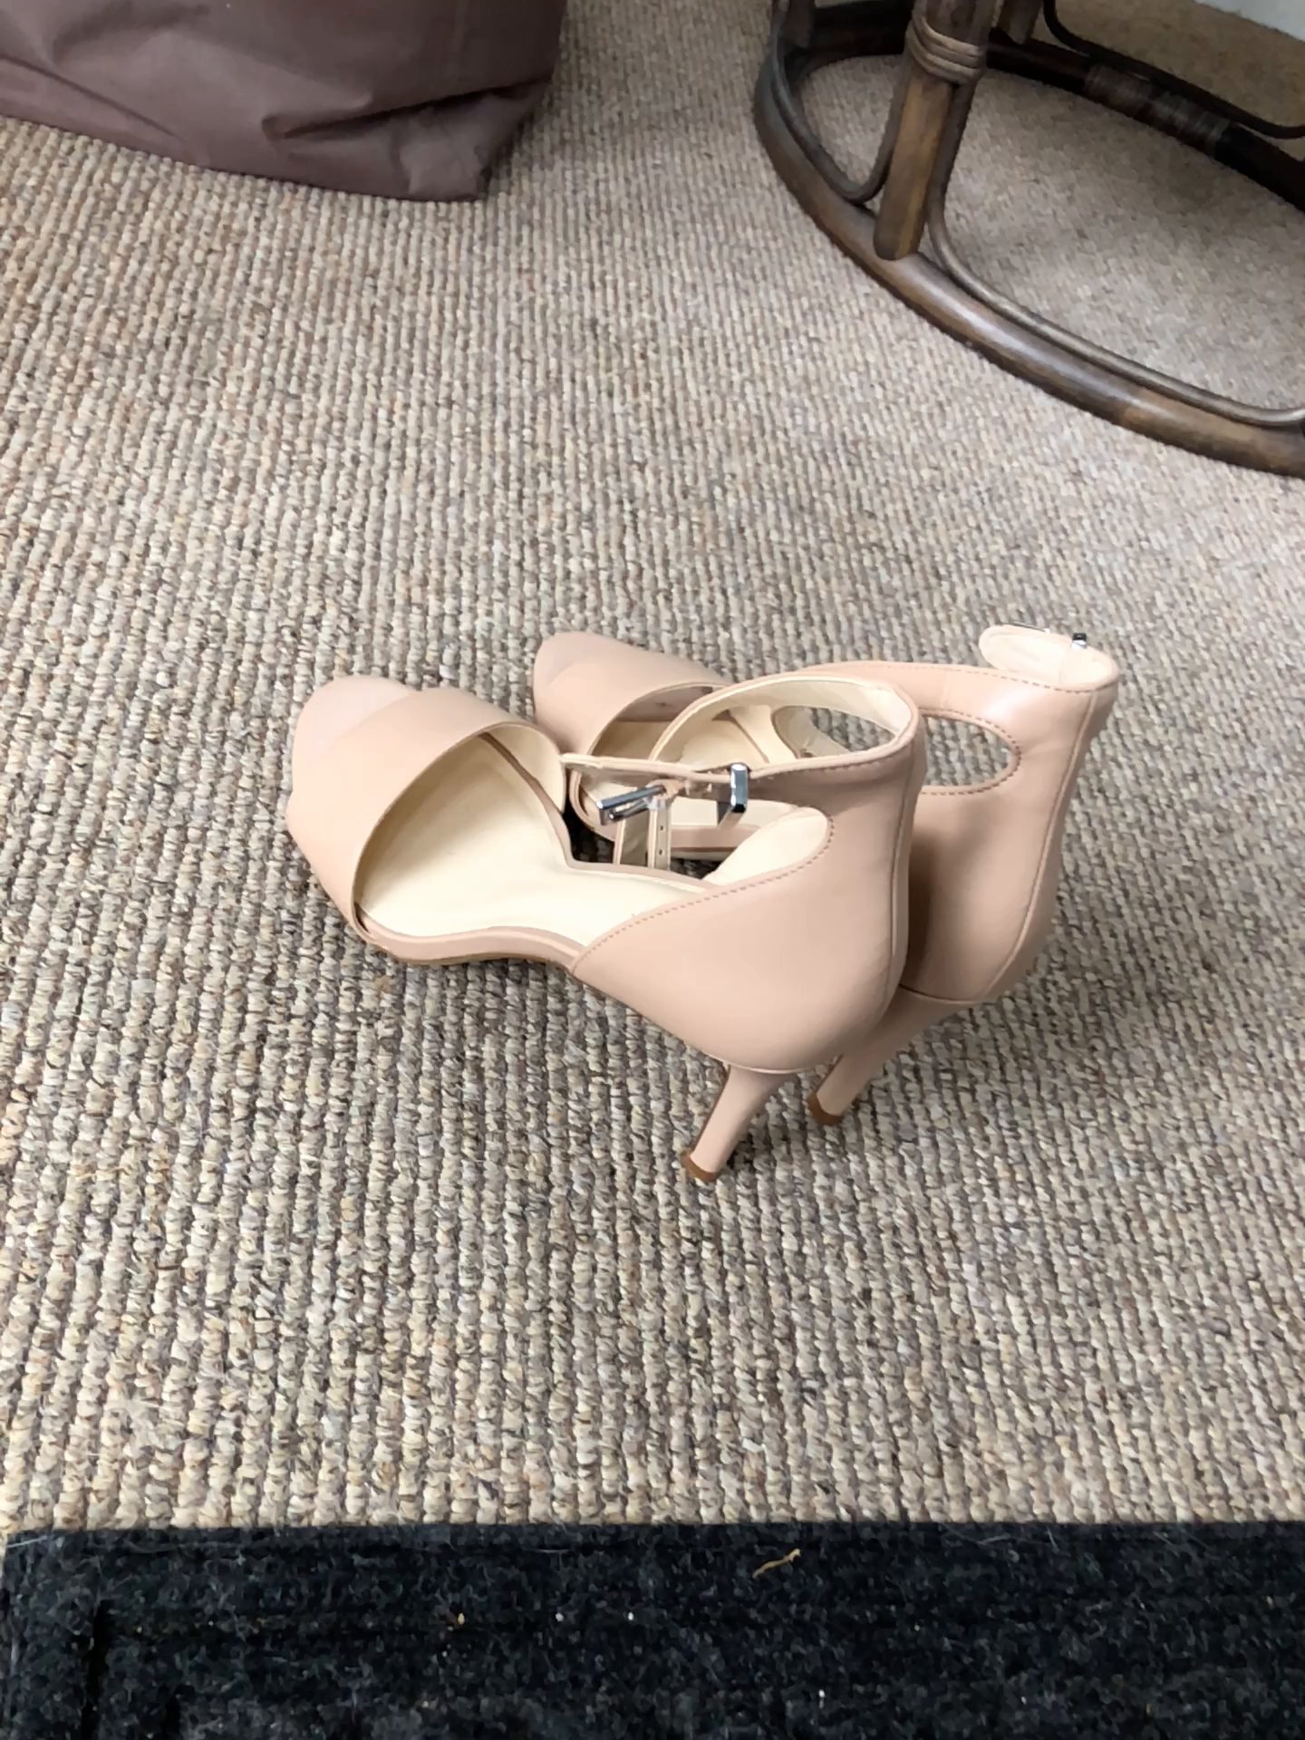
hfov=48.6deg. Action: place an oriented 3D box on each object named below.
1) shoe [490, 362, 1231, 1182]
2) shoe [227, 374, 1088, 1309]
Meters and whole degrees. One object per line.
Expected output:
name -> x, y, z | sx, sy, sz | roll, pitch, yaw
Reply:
shoe -> 0.048, -0.037, 0.475 | 0.100, 0.154, 0.207 | -9, 55, -31
shoe -> -0.015, -0.015, 0.417 | 0.106, 0.144, 0.206 | -23, 63, -38
